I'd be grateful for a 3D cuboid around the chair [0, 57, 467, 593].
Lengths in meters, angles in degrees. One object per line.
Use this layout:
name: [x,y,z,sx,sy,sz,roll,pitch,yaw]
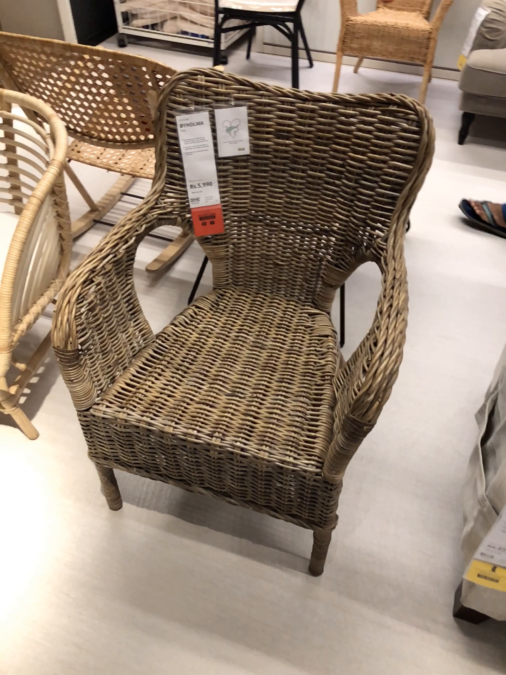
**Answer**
chair: [0.007,-0.016,1.310,0.670,0.924,0.684,14,47,13]
